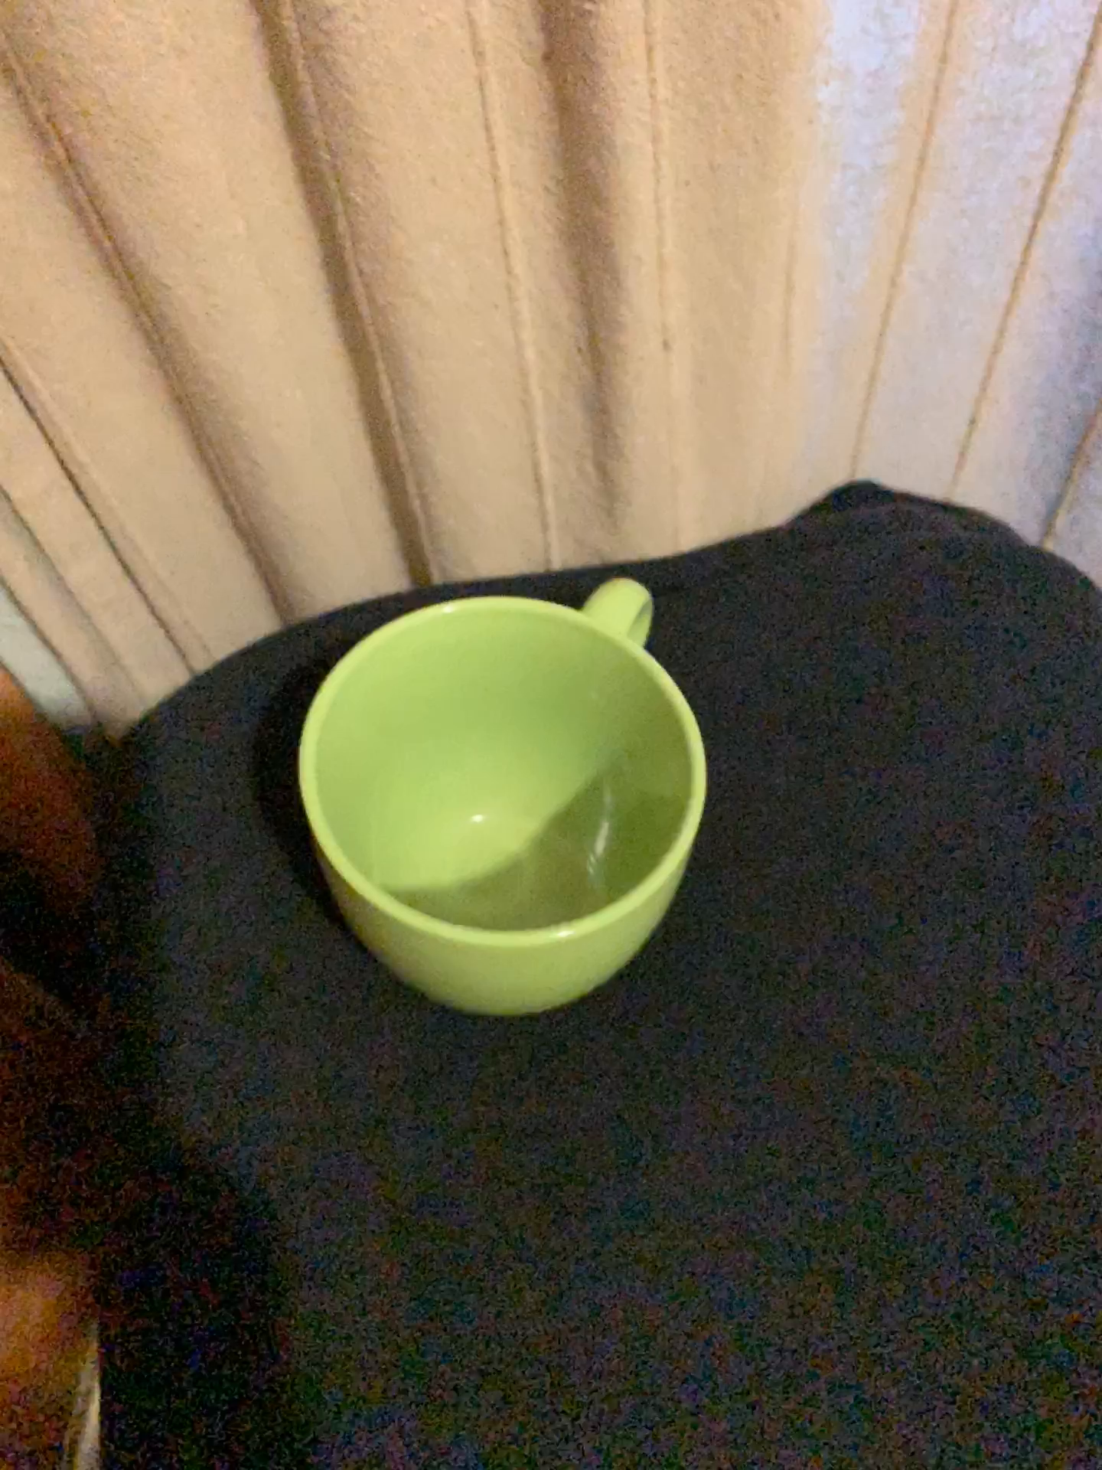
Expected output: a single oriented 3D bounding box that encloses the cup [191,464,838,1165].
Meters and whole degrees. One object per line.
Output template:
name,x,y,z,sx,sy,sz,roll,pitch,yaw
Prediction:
cup,-0.003,0.016,0.275,0.089,0.069,0.125,25,62,12
